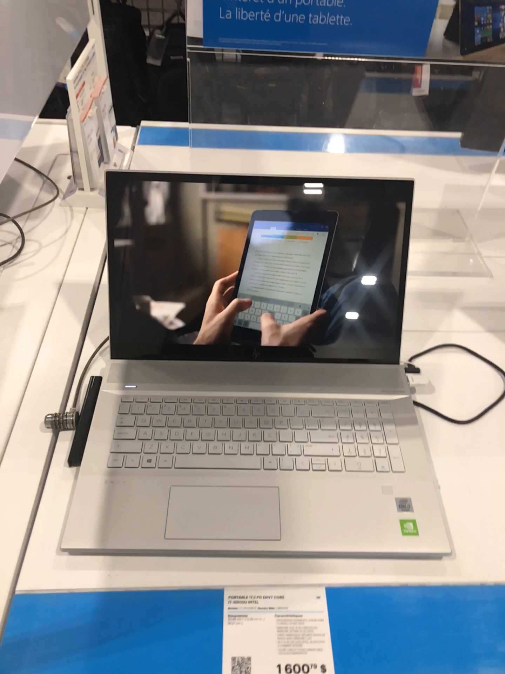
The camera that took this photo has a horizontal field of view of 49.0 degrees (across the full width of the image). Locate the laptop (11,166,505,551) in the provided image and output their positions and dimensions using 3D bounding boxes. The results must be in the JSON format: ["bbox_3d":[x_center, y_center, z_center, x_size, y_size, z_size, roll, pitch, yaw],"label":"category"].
[{"bbox_3d":[0.007,0.002,0.636,0.390,0.199,0.399,2,44,-3],"label":"laptop"}]
